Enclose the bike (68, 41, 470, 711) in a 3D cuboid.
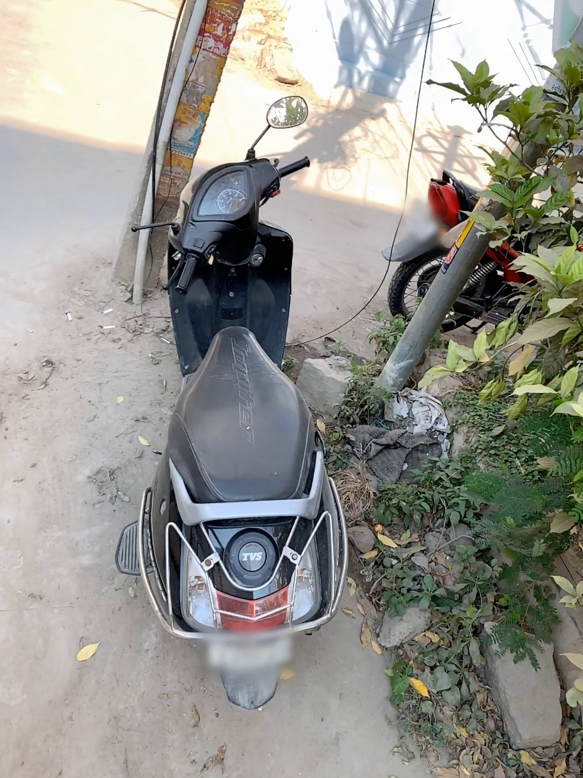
[{"bbox_3d":[-0.251,-0.183,1.870,0.618,0.944,1.824,7,44,-19],"label":"bike"}]
